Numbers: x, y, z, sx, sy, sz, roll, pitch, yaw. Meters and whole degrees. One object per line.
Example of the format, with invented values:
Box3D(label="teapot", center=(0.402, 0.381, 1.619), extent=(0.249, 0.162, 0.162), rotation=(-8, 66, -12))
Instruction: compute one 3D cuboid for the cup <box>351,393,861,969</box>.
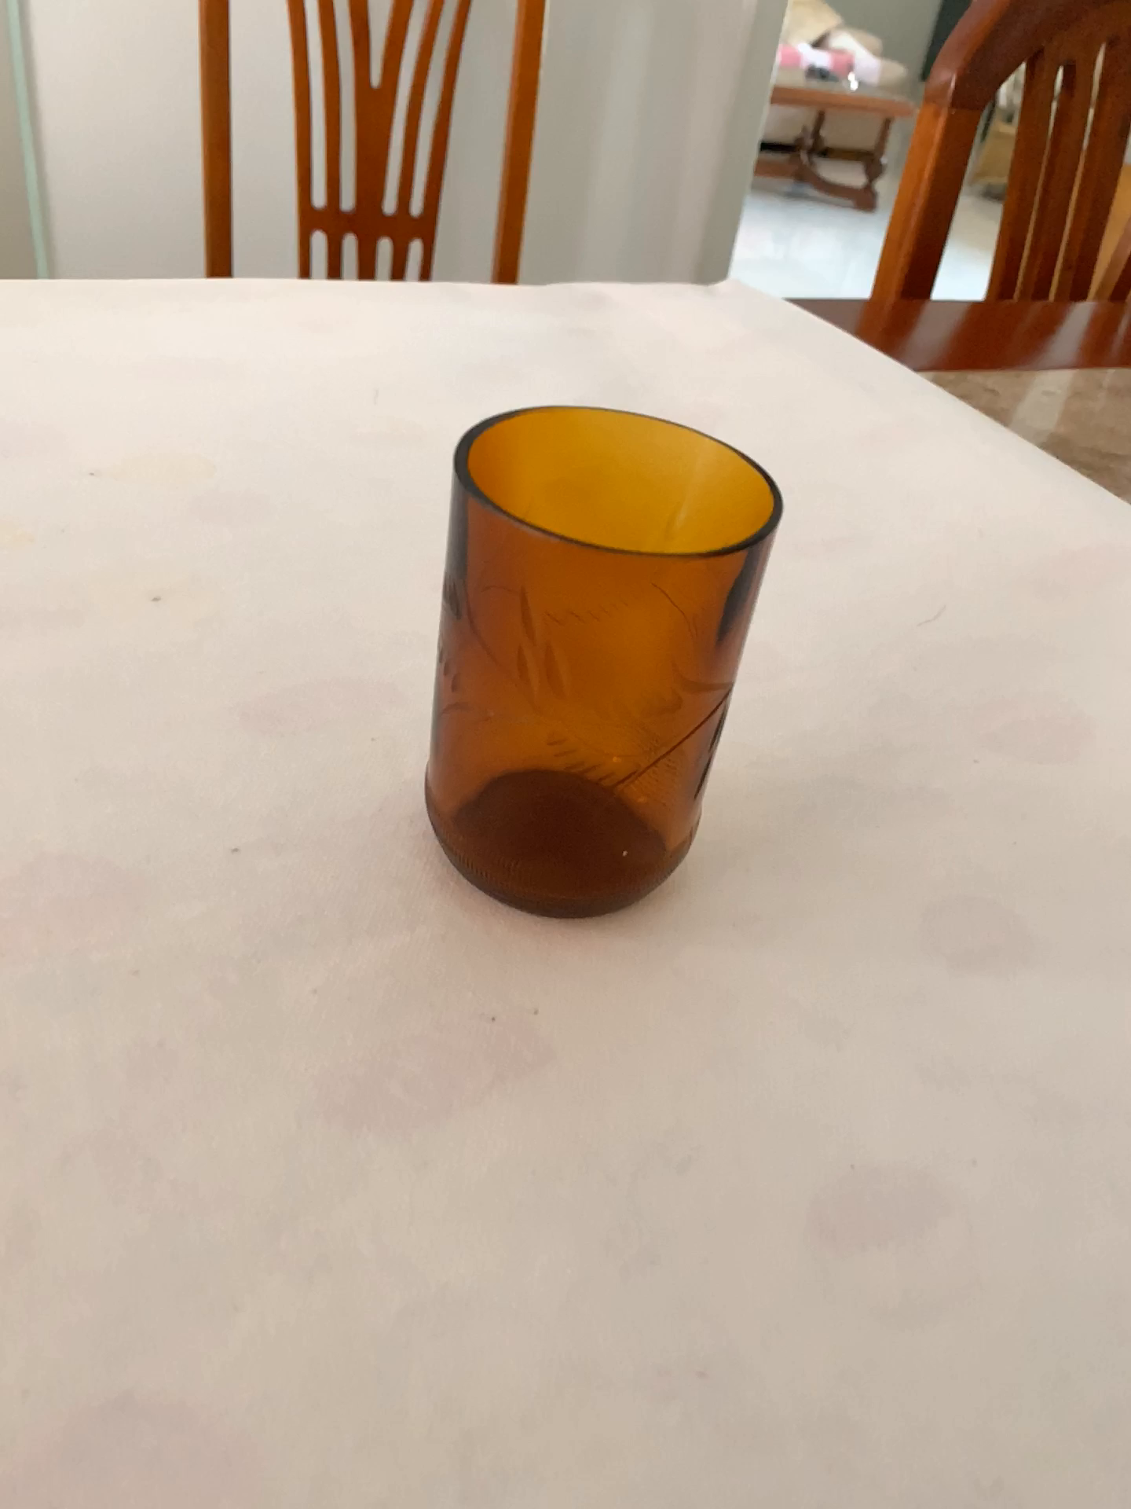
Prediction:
Box3D(label="cup", center=(0.001, -0.018, 0.246), extent=(0.070, 0.089, 0.070), rotation=(7, 37, -5))
